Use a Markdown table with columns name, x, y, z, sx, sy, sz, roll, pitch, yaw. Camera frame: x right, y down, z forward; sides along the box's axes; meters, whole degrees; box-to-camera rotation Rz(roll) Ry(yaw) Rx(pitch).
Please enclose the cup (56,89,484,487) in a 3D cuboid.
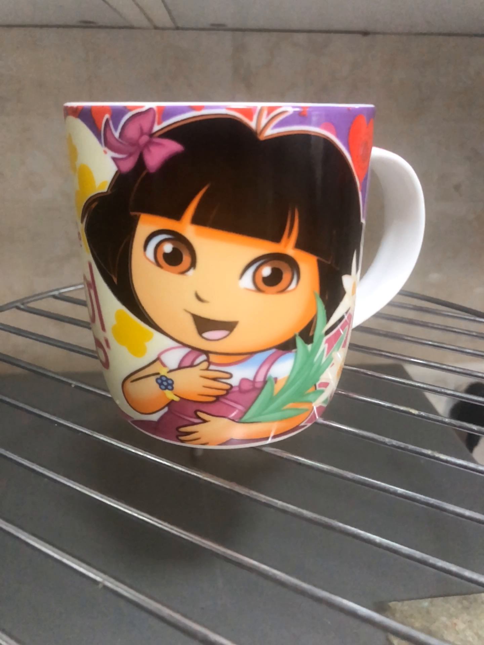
| name | x | y | z | sx | sy | sz | roll | pitch | yaw |
| --- | --- | --- | --- | --- | --- | --- | --- | --- | --- |
| cup | 0.014 | -0.022 | 0.171 | 0.120 | 0.089 | 0.070 | -9 | 24 | -25 |
